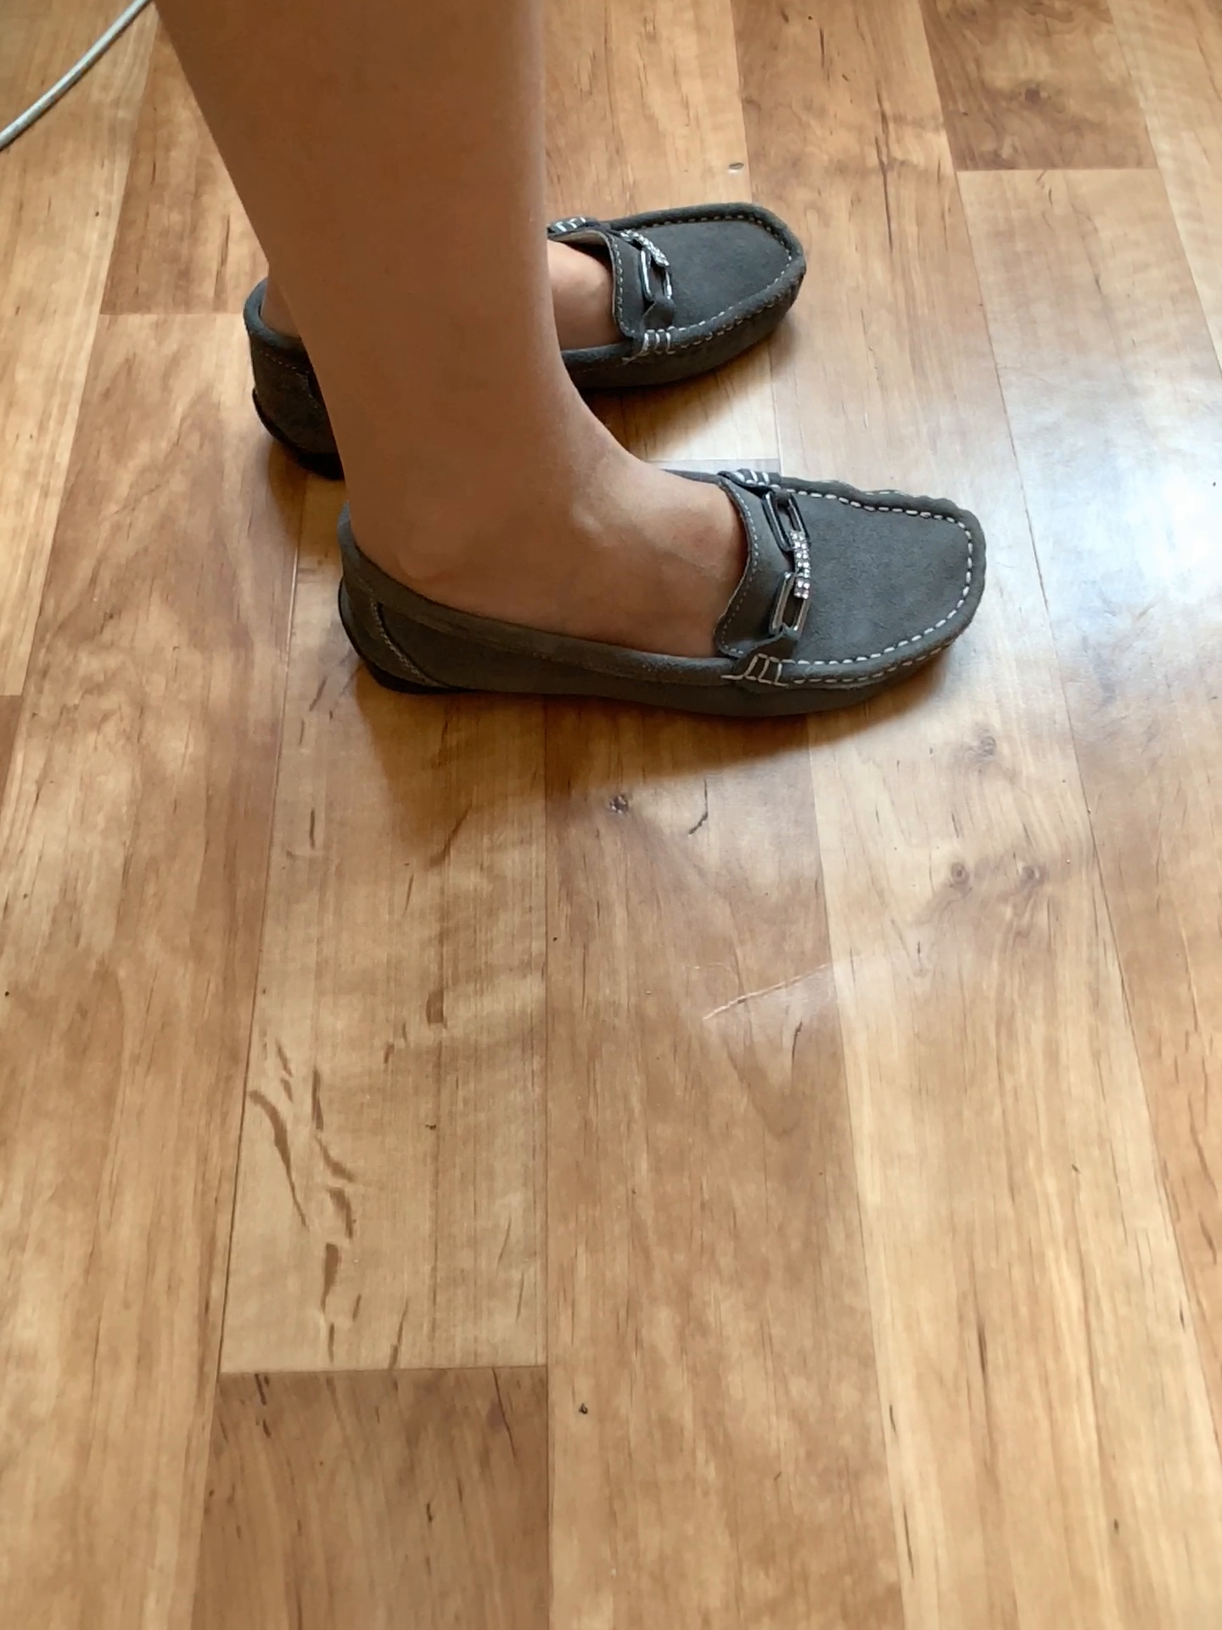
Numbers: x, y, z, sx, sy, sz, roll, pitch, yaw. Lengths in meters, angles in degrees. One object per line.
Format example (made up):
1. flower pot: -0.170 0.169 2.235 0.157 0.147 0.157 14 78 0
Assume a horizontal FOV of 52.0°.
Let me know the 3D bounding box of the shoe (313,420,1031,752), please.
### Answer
1. shoe: 0.018 -0.084 0.461 0.240 0.060 0.090 -3 68 -2

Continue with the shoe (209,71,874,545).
1. shoe: -0.025 -0.212 0.514 0.240 0.060 0.100 -27 67 -13
